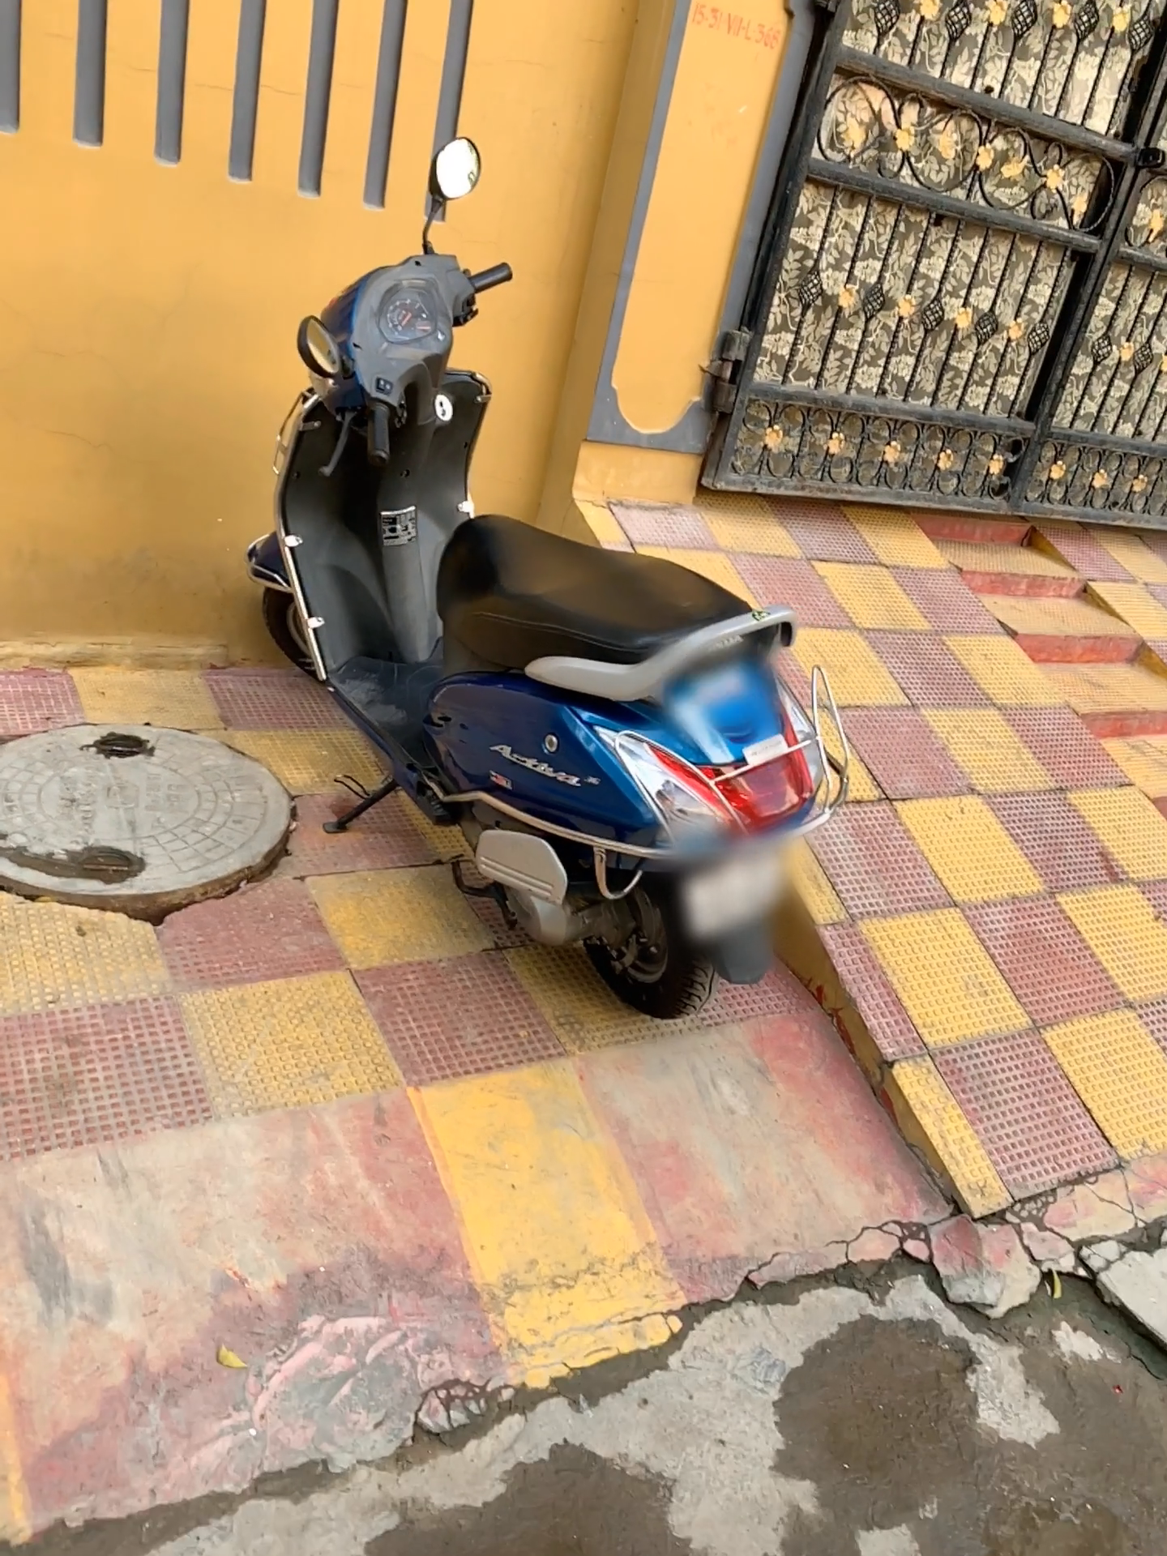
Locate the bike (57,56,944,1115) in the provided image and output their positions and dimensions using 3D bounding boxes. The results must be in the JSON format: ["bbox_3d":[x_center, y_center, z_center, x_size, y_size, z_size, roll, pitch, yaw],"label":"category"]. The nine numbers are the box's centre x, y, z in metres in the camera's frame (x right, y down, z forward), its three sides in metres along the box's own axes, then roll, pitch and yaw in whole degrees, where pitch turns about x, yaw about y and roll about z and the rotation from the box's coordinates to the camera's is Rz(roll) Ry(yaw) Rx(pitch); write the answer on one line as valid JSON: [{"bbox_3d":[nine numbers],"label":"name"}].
[{"bbox_3d":[-0.325,-0.435,2.153,0.597,1.098,1.530,-11,39,-42],"label":"bike"}]
